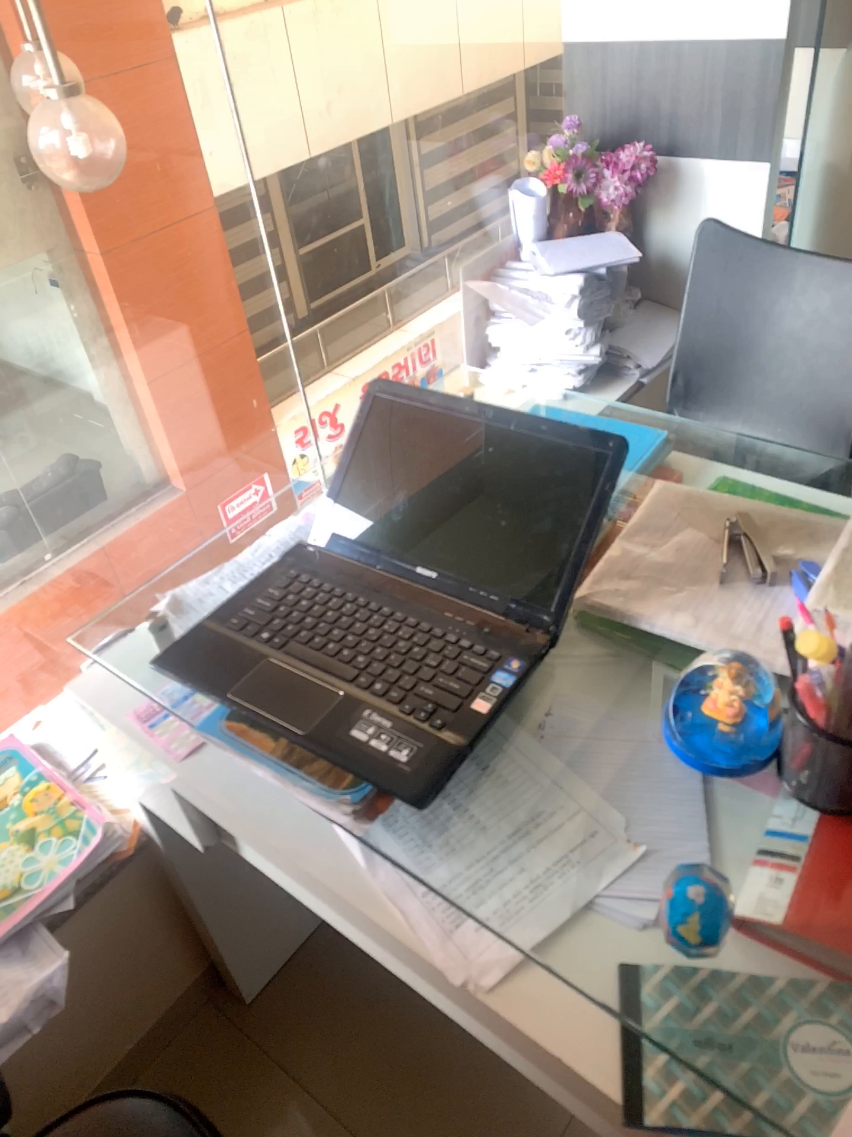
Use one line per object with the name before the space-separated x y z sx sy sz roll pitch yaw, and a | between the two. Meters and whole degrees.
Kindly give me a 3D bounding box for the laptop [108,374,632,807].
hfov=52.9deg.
laptop | -0.029 -0.016 0.730 0.286 0.111 0.337 20 46 30
